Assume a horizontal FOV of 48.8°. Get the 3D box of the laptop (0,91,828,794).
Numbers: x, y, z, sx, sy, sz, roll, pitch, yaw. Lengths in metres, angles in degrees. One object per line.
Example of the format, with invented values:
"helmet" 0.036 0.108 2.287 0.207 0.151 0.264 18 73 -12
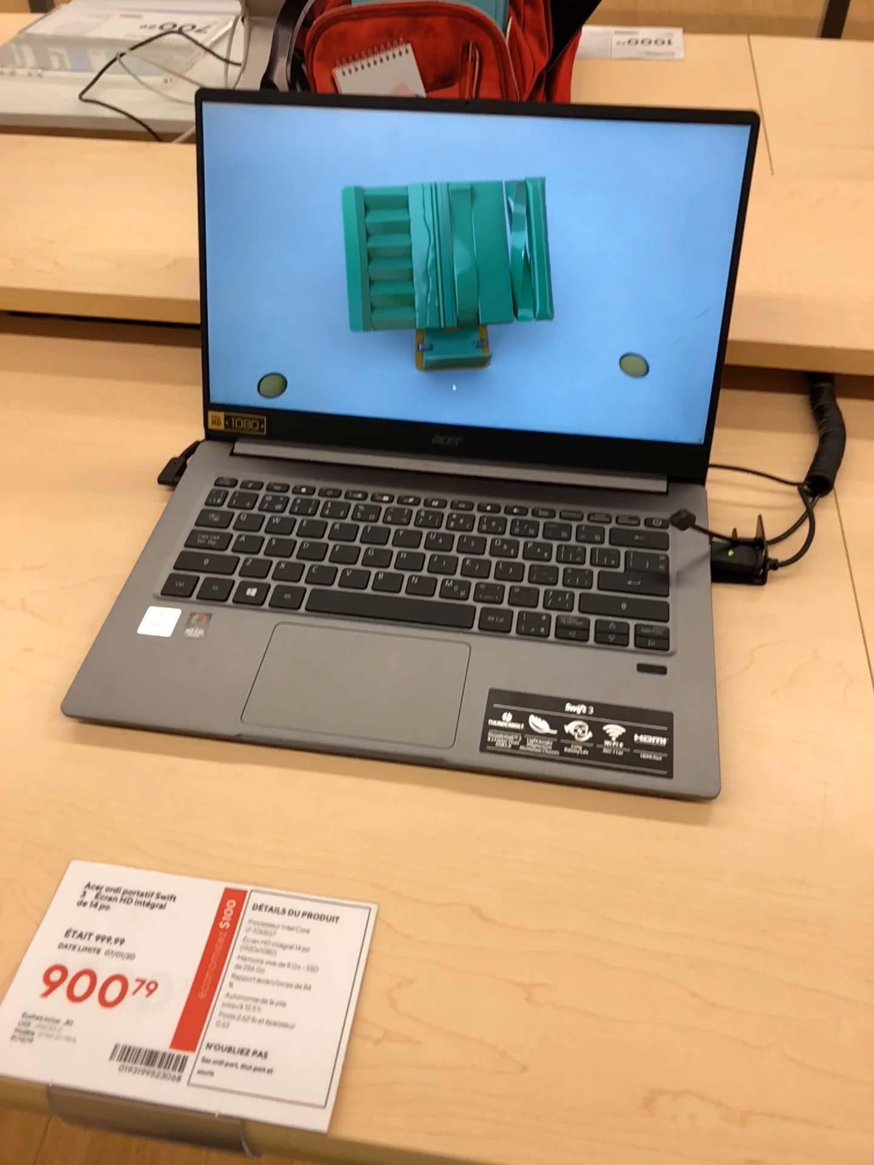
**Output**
"laptop" -0.005 -0.094 0.496 0.315 0.177 0.313 6 47 7
